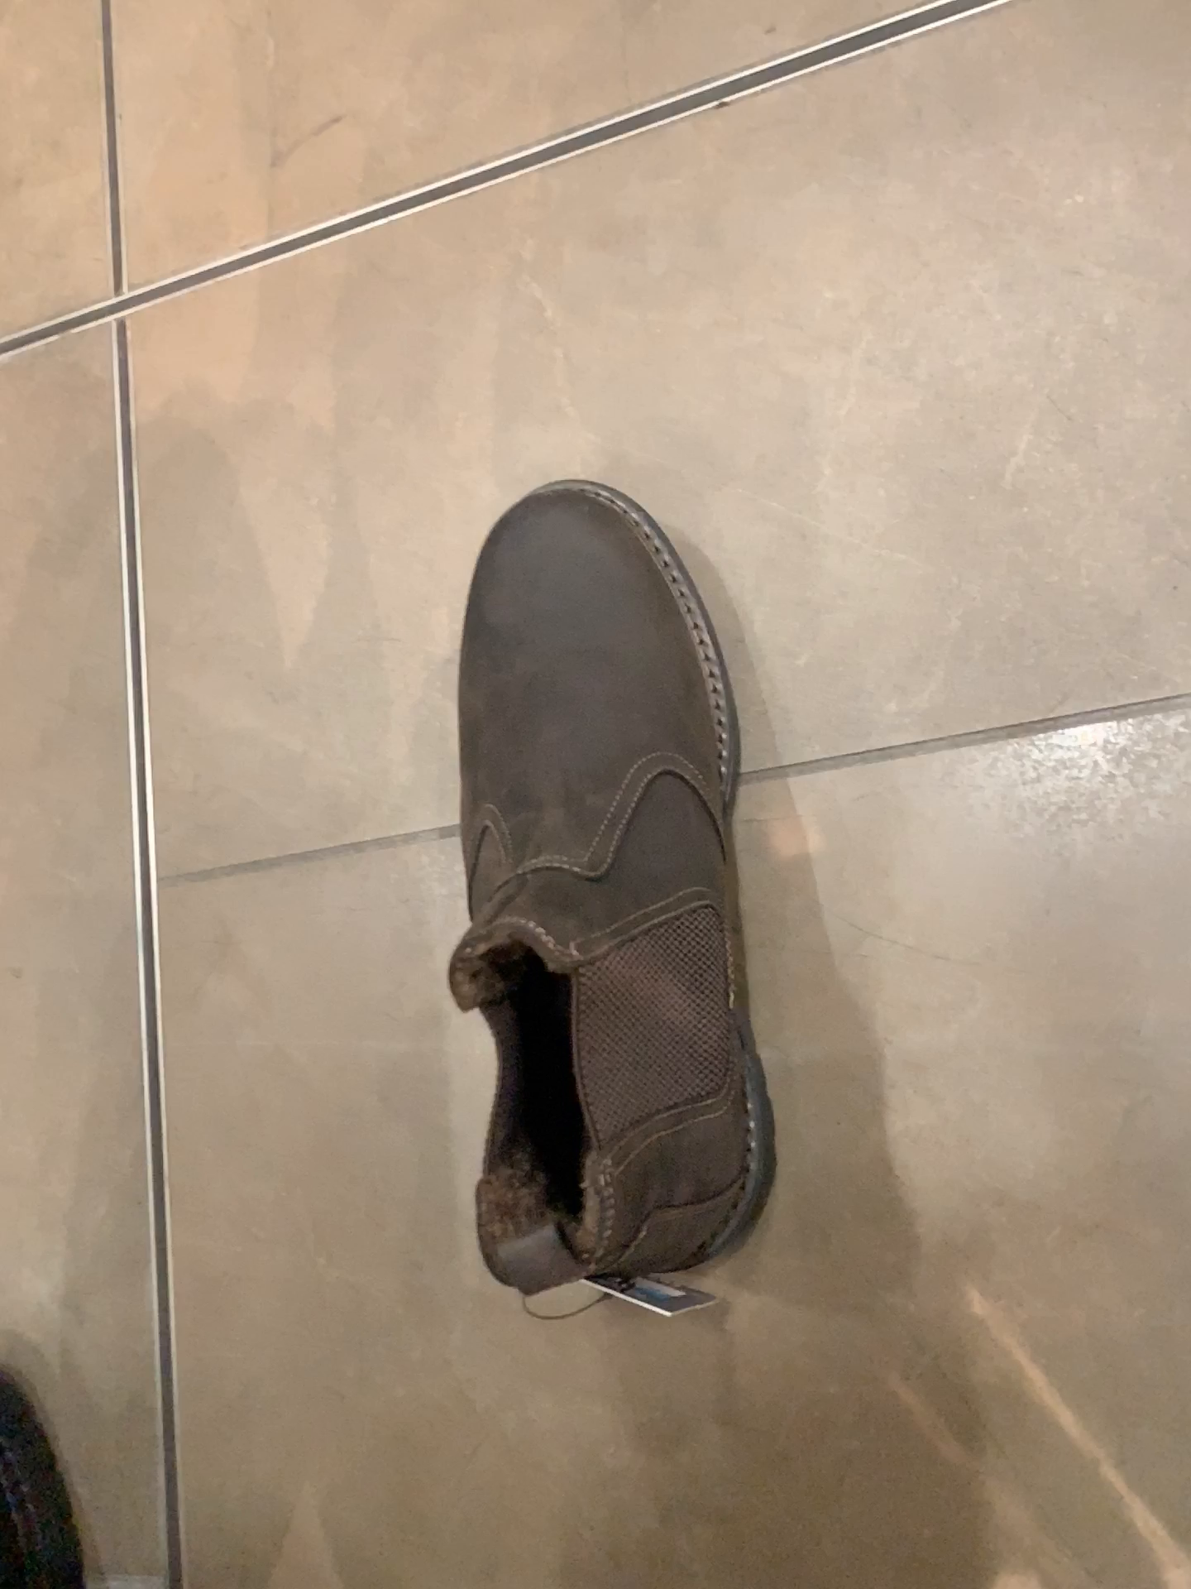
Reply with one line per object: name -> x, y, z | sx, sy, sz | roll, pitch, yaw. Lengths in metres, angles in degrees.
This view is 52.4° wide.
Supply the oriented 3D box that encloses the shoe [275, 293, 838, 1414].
shoe -> -0.007, 0.023, 0.419 | 0.114, 0.166, 0.304 | -10, 78, 18
